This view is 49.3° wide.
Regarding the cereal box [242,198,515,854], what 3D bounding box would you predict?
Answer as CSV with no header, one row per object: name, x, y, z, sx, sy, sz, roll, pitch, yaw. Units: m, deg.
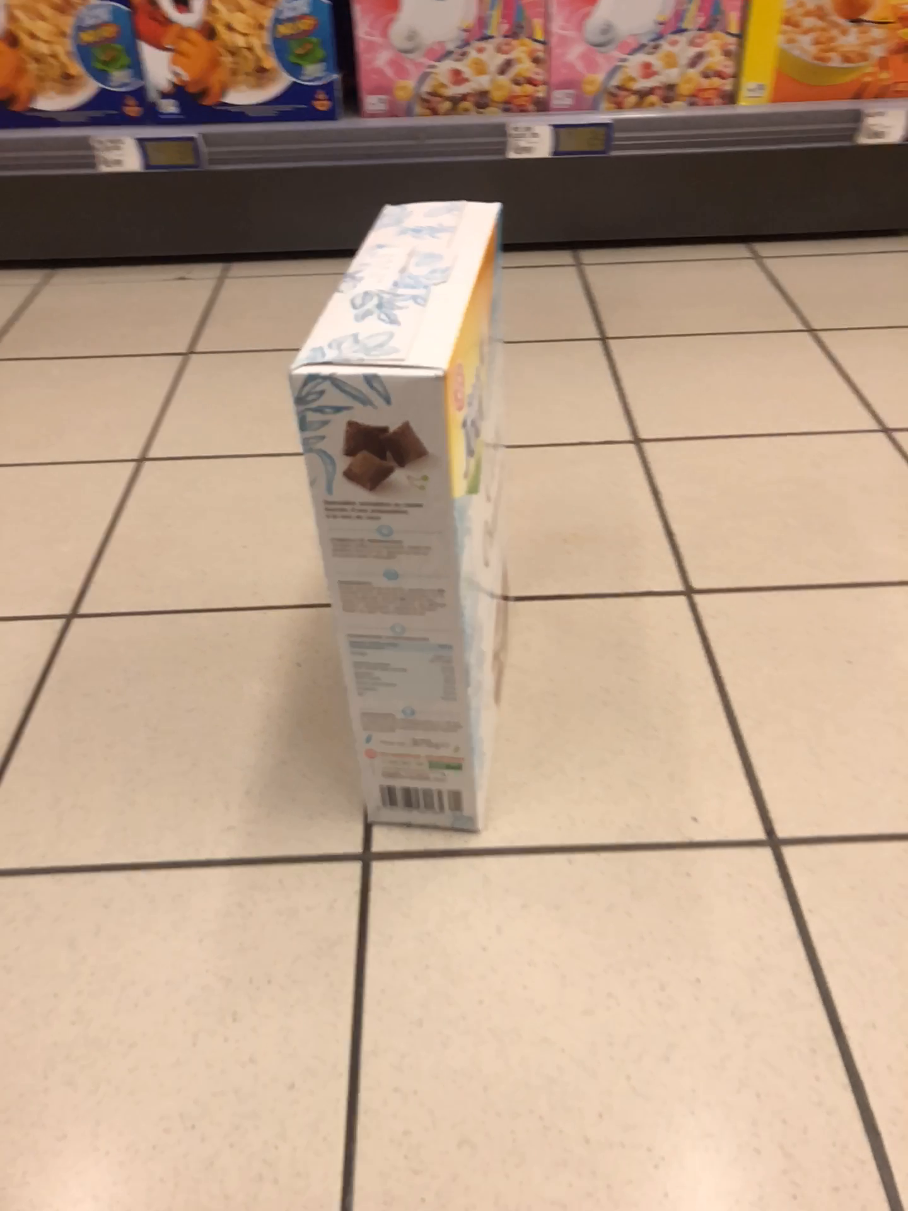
cereal box,-0.016,-0.041,0.476,0.070,0.238,0.201,4,39,8
